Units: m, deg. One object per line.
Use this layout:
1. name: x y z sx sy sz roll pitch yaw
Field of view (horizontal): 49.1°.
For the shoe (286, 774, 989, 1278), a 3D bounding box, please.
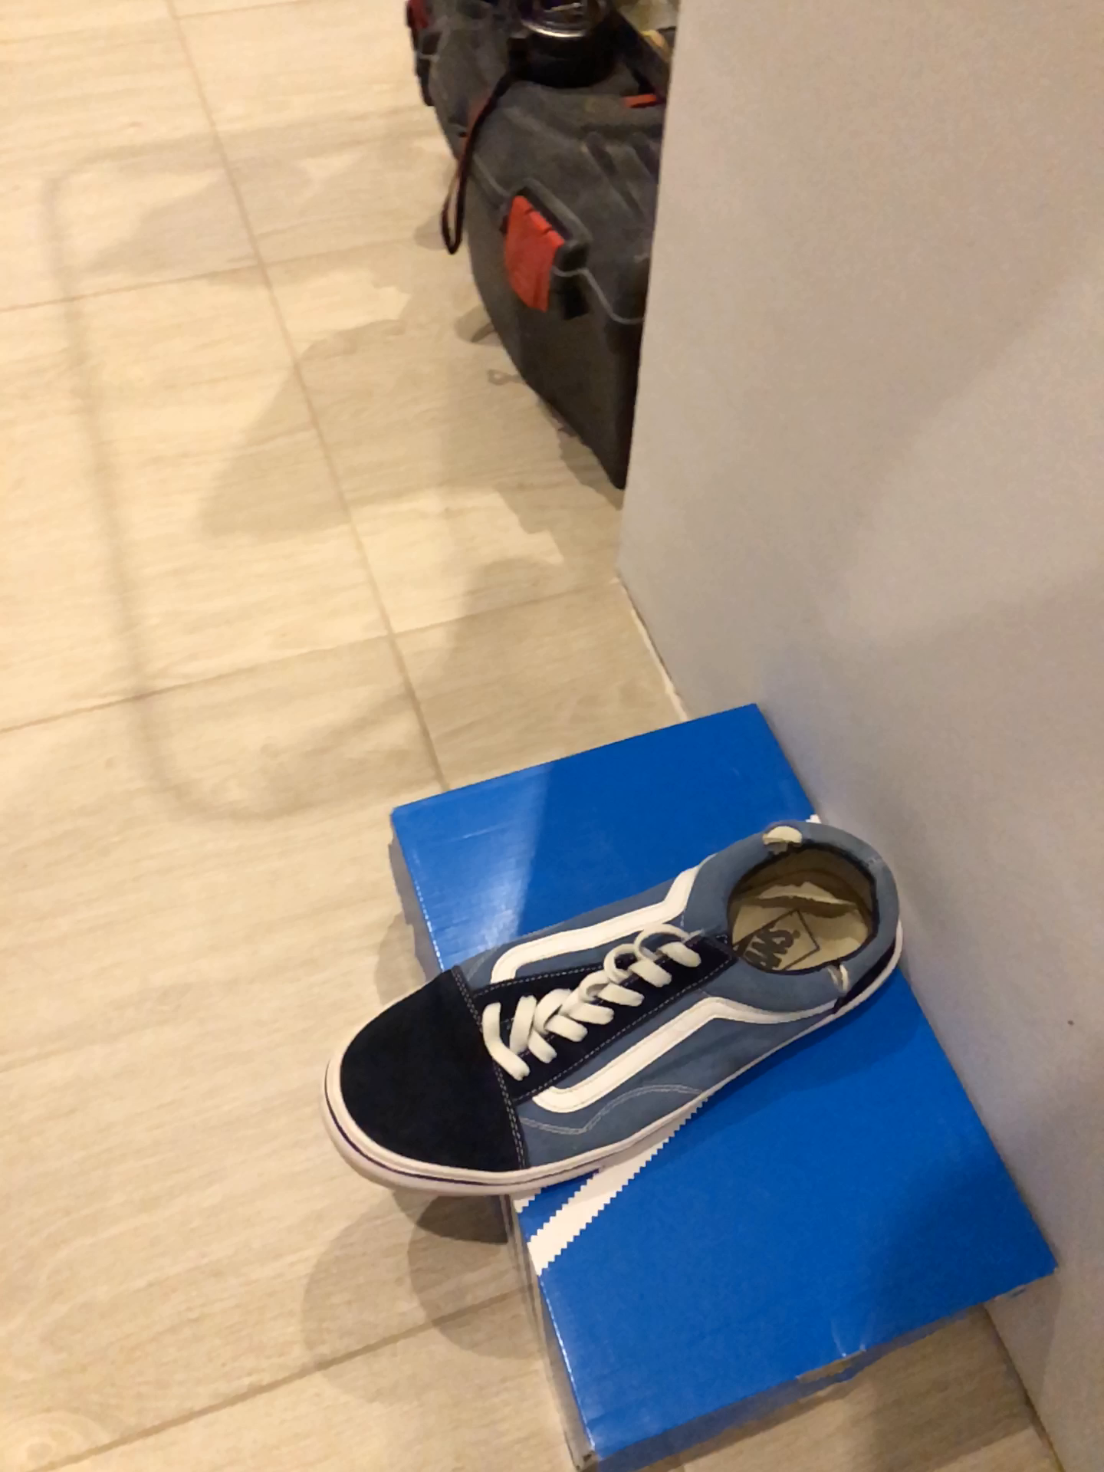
1. shoe: 0.037 0.125 0.549 0.280 0.080 0.110 -18 59 -14
